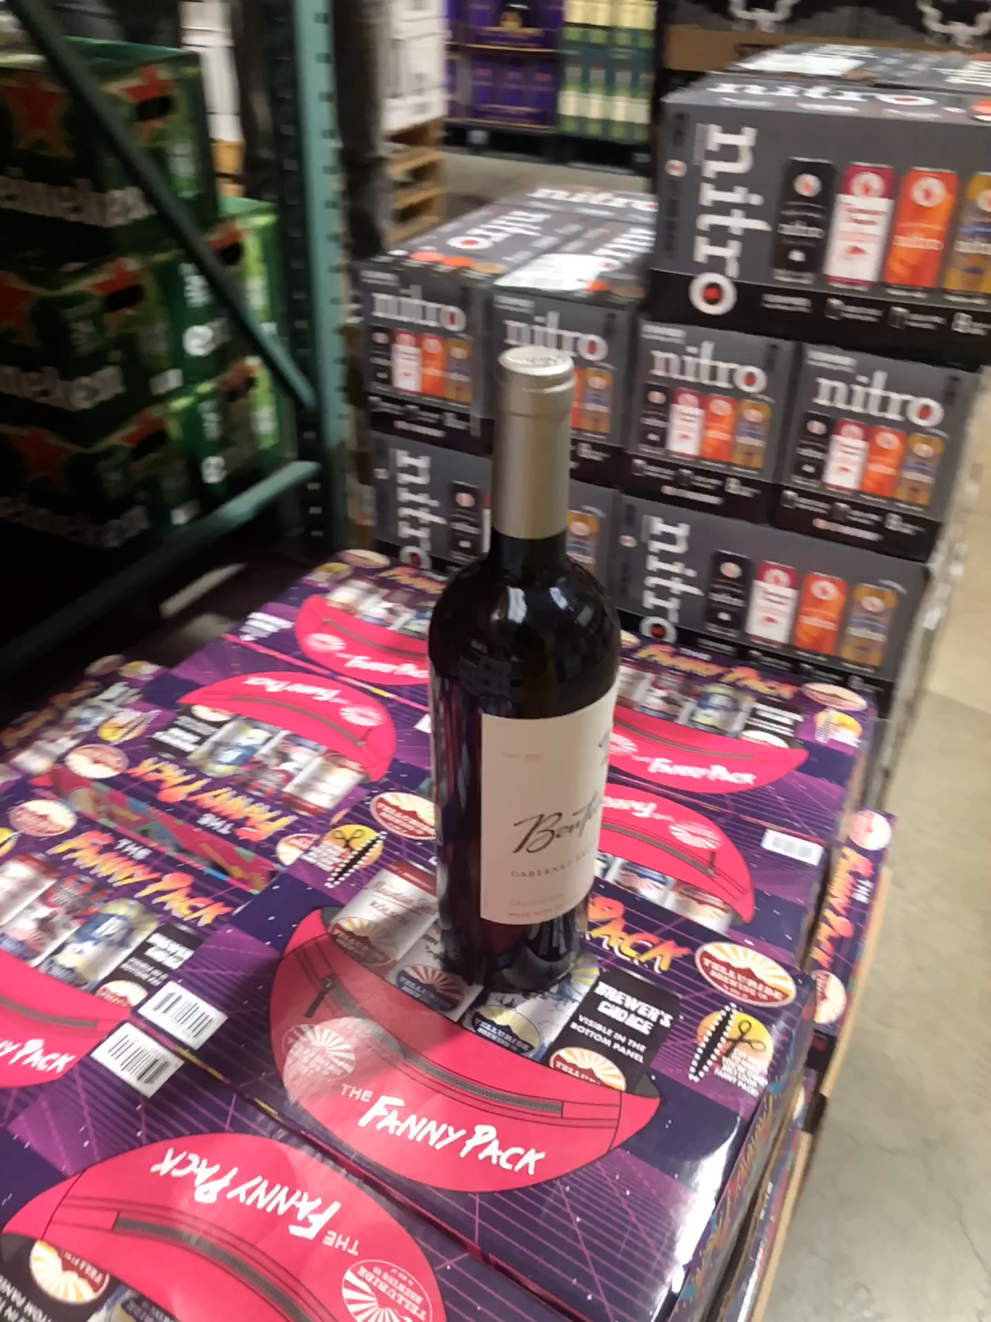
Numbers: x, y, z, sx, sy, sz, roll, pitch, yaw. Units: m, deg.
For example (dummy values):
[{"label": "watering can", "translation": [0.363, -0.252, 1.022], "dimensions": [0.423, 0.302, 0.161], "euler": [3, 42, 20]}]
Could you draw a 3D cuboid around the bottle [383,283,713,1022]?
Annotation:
[{"label": "bottle", "translation": [0.015, 0.009, 0.459], "dimensions": [0.080, 0.298, 0.080], "euler": [1, 35, -1]}]
